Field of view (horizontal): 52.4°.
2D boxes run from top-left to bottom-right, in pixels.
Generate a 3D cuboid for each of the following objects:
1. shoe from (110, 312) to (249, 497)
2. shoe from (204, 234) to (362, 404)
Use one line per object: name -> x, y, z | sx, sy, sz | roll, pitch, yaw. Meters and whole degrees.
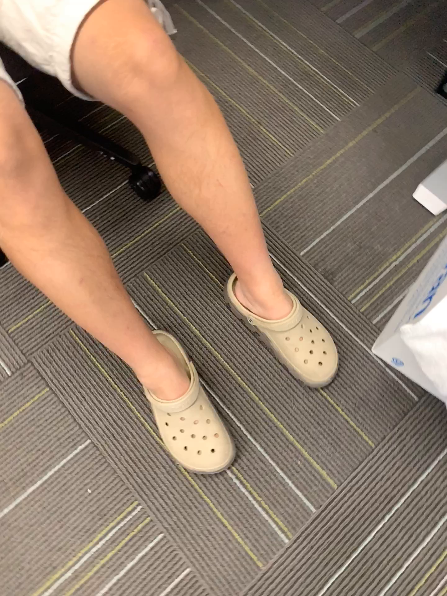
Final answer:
shoe -> -0.091, 0.204, 0.902 | 0.134, 0.080, 0.321 | -27, 73, -11
shoe -> 0.115, 0.040, 0.955 | 0.140, 0.080, 0.330 | -35, 75, -13
